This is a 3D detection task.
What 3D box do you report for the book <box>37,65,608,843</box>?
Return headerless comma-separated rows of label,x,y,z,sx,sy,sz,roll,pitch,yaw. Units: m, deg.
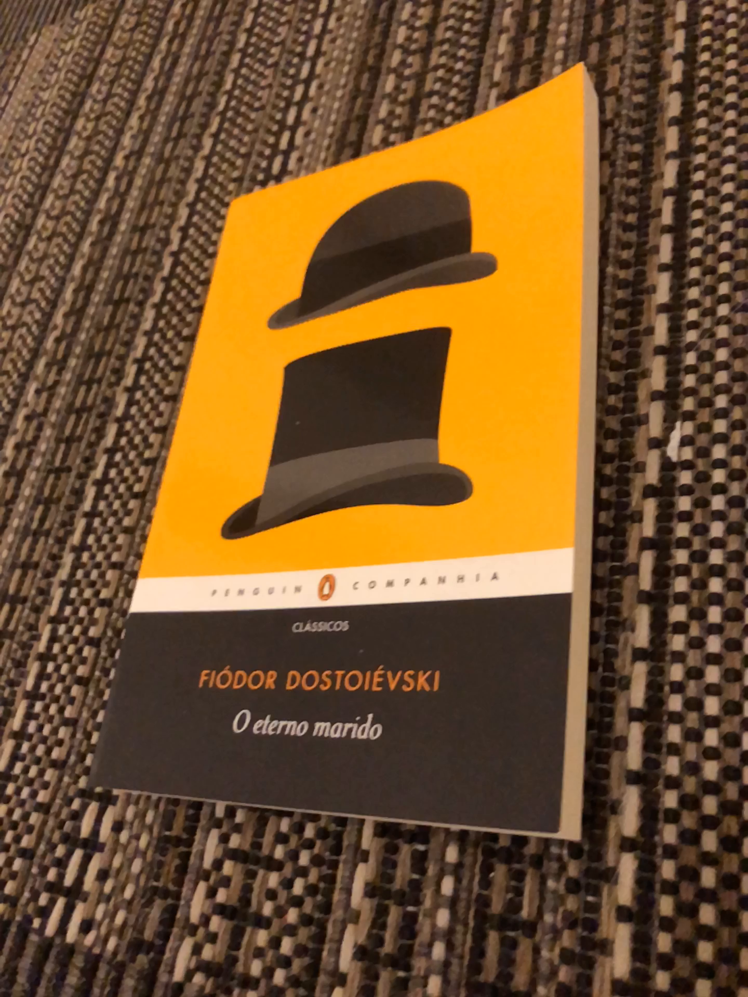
book,-0.009,-0.017,0.214,0.130,0.020,0.180,-7,62,30
